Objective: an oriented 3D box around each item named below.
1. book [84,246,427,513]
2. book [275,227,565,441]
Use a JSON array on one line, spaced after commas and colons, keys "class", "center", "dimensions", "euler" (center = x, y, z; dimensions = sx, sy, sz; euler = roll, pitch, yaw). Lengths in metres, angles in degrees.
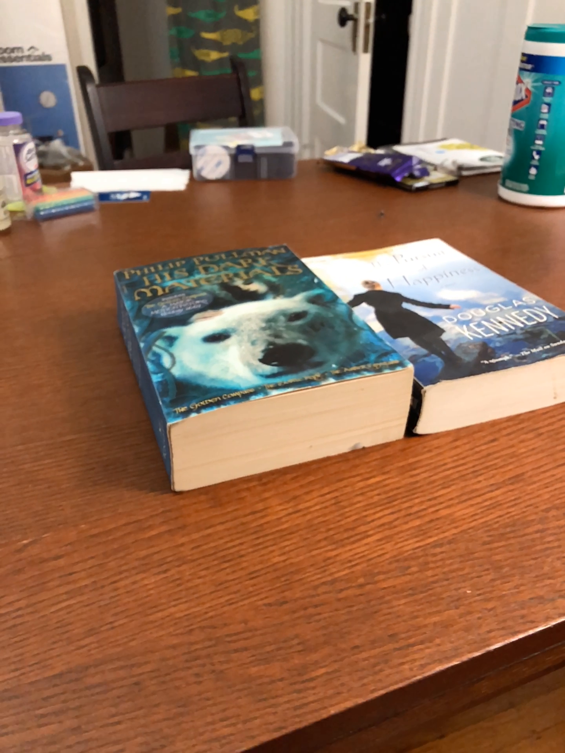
[{"class": "book", "center": [-0.040, -0.022, 0.470], "dimensions": [0.180, 0.050, 0.251], "euler": [-11, 33, -17]}, {"class": "book", "center": [0.121, -0.054, 0.512], "dimensions": [0.180, 0.040, 0.251], "euler": [-11, 33, -17]}]
